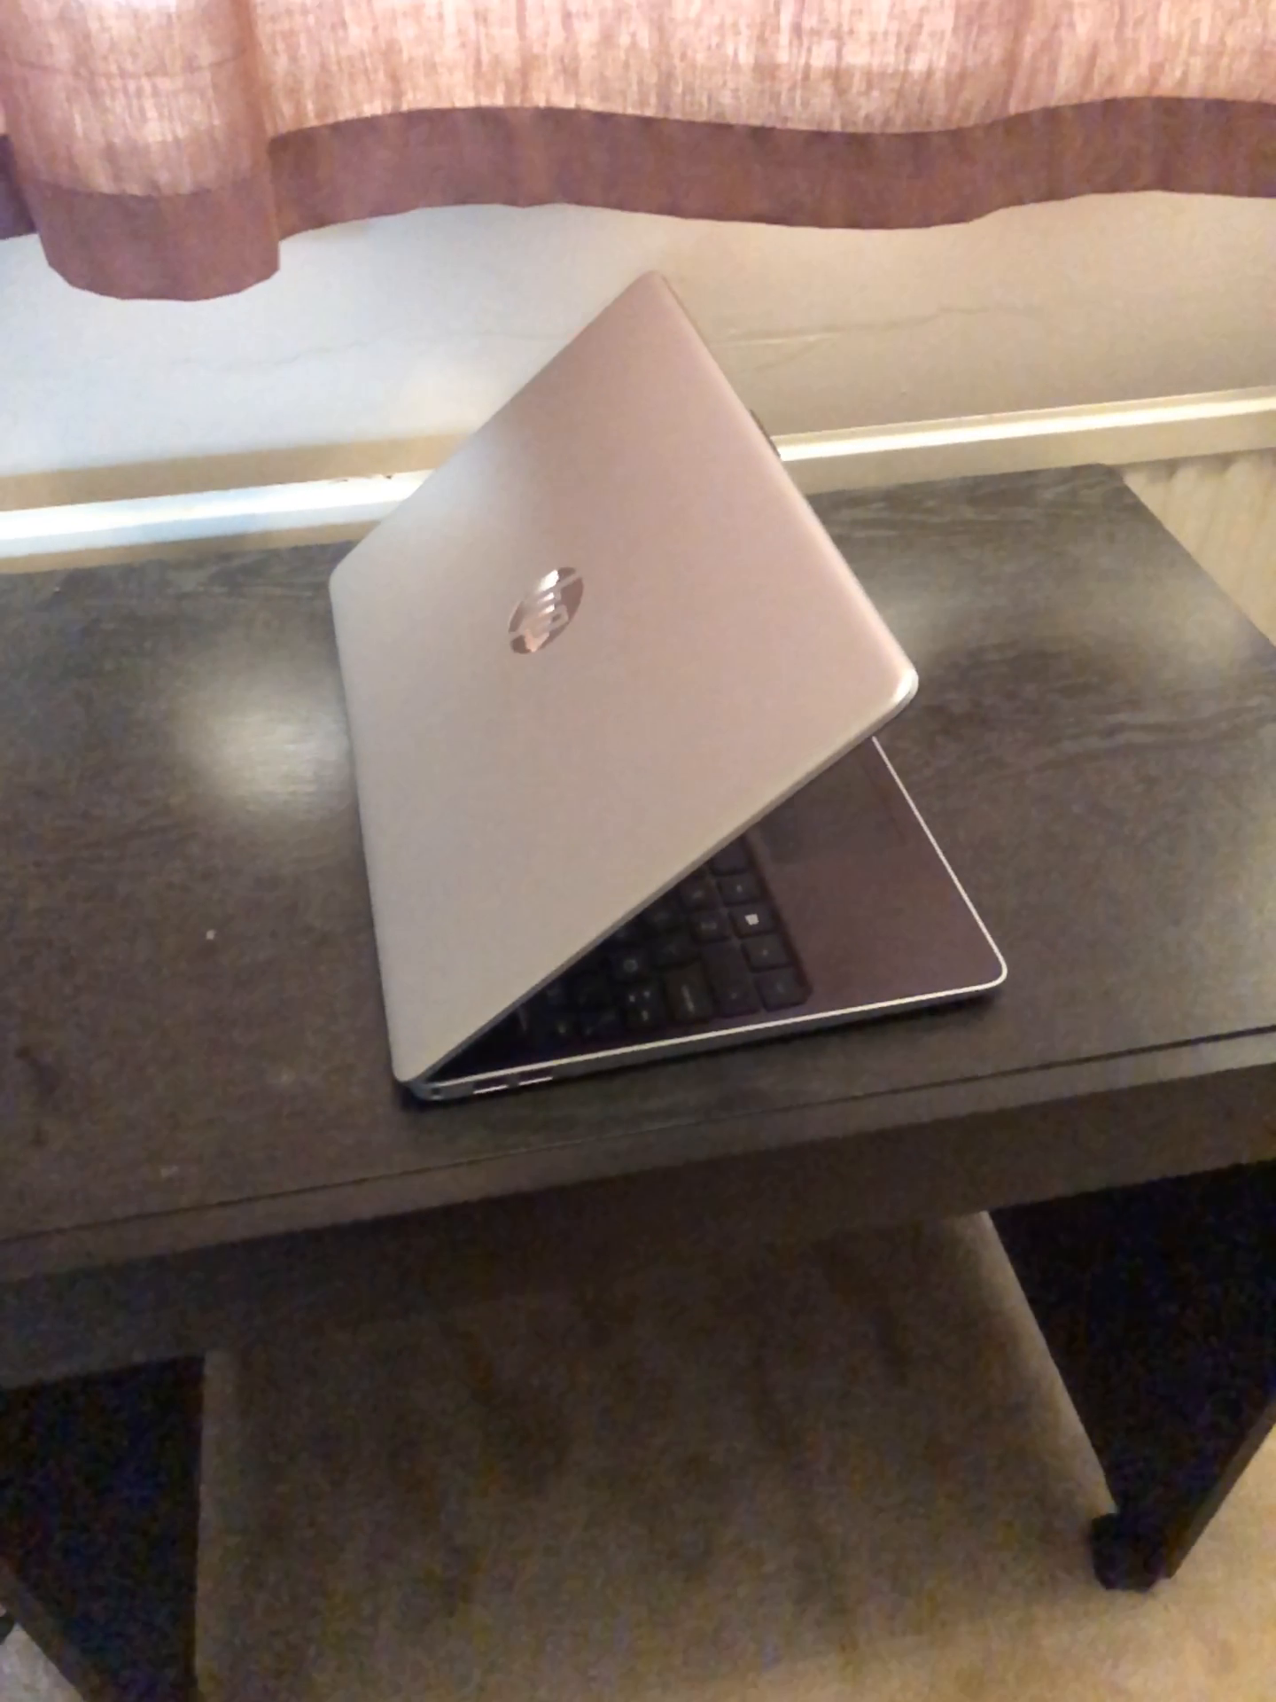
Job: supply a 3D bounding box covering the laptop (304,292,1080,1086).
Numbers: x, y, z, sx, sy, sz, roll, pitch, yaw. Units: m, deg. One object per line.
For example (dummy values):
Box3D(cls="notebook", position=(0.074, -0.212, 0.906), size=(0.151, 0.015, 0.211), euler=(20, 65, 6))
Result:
Box3D(cls="laptop", position=(-0.006, -0.103, 0.623), size=(0.236, 0.141, 0.363), euler=(-8, 43, -12))
